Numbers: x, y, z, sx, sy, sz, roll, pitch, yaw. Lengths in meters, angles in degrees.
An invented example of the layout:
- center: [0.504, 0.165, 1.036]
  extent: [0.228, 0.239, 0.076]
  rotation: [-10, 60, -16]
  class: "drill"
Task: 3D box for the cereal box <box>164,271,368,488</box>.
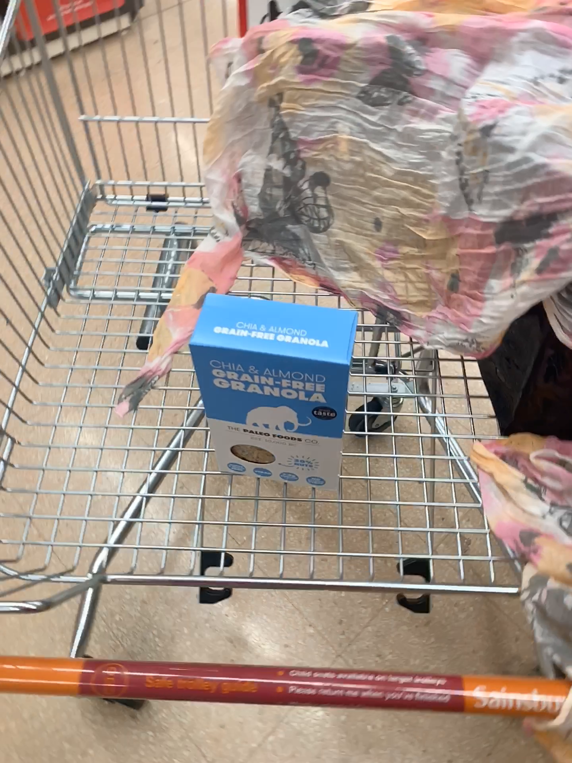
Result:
- center: [-0.014, 0.010, 0.510]
  extent: [0.140, 0.208, 0.060]
  rotation: [8, 55, 5]
  class: "cereal box"
